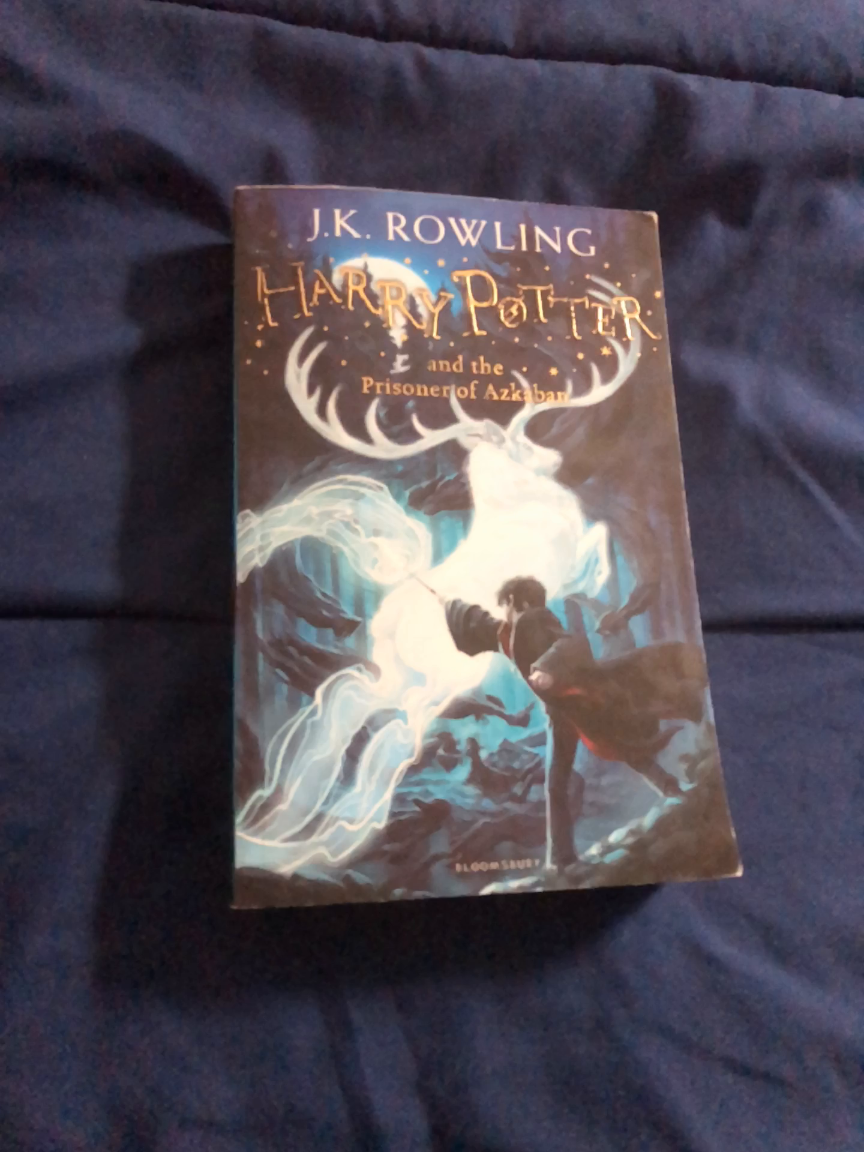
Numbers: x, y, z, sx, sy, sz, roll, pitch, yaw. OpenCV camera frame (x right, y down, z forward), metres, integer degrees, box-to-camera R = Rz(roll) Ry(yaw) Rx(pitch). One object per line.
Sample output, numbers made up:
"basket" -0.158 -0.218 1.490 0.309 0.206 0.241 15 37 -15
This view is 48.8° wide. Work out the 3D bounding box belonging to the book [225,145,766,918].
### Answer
"book" 0.012 -0.014 0.272 0.134 0.045 0.200 0 78 -10
